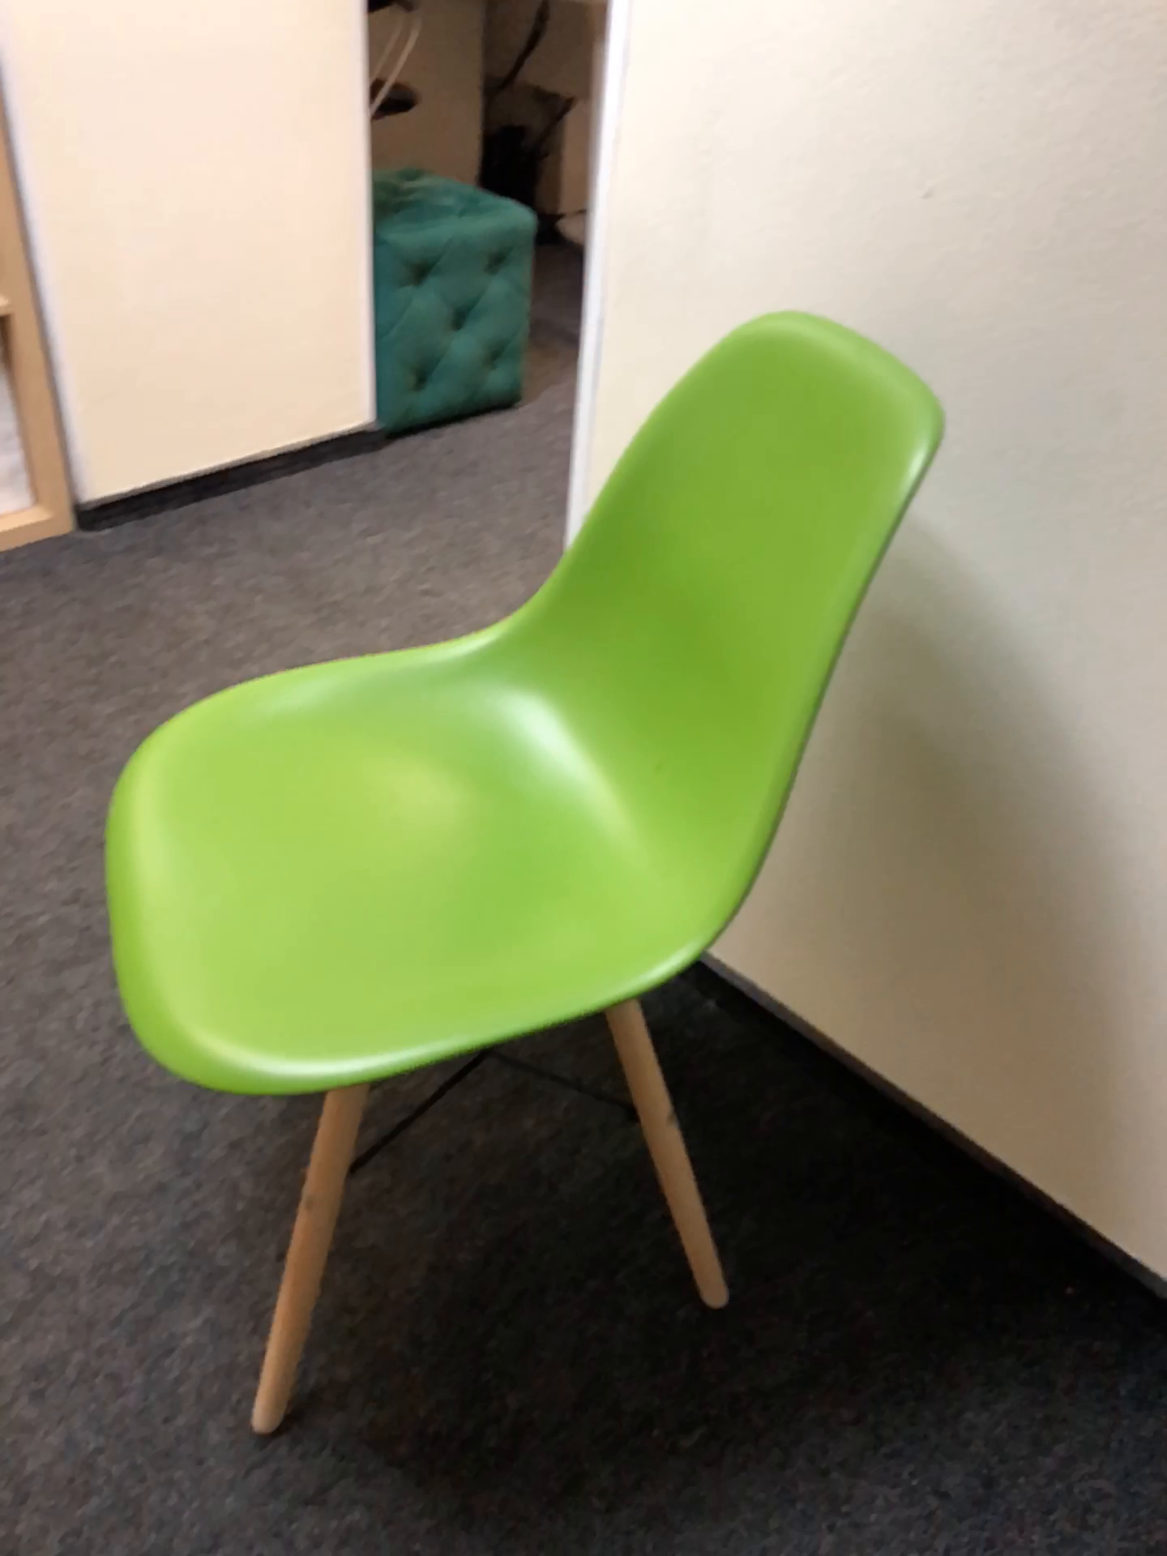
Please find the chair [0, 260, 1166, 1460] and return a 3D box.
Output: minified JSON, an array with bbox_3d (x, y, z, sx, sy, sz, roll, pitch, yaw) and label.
[{"bbox_3d":[-0.065,0.041,0.972,0.581,0.705,0.483,-7,39,-16],"label":"chair"}]
